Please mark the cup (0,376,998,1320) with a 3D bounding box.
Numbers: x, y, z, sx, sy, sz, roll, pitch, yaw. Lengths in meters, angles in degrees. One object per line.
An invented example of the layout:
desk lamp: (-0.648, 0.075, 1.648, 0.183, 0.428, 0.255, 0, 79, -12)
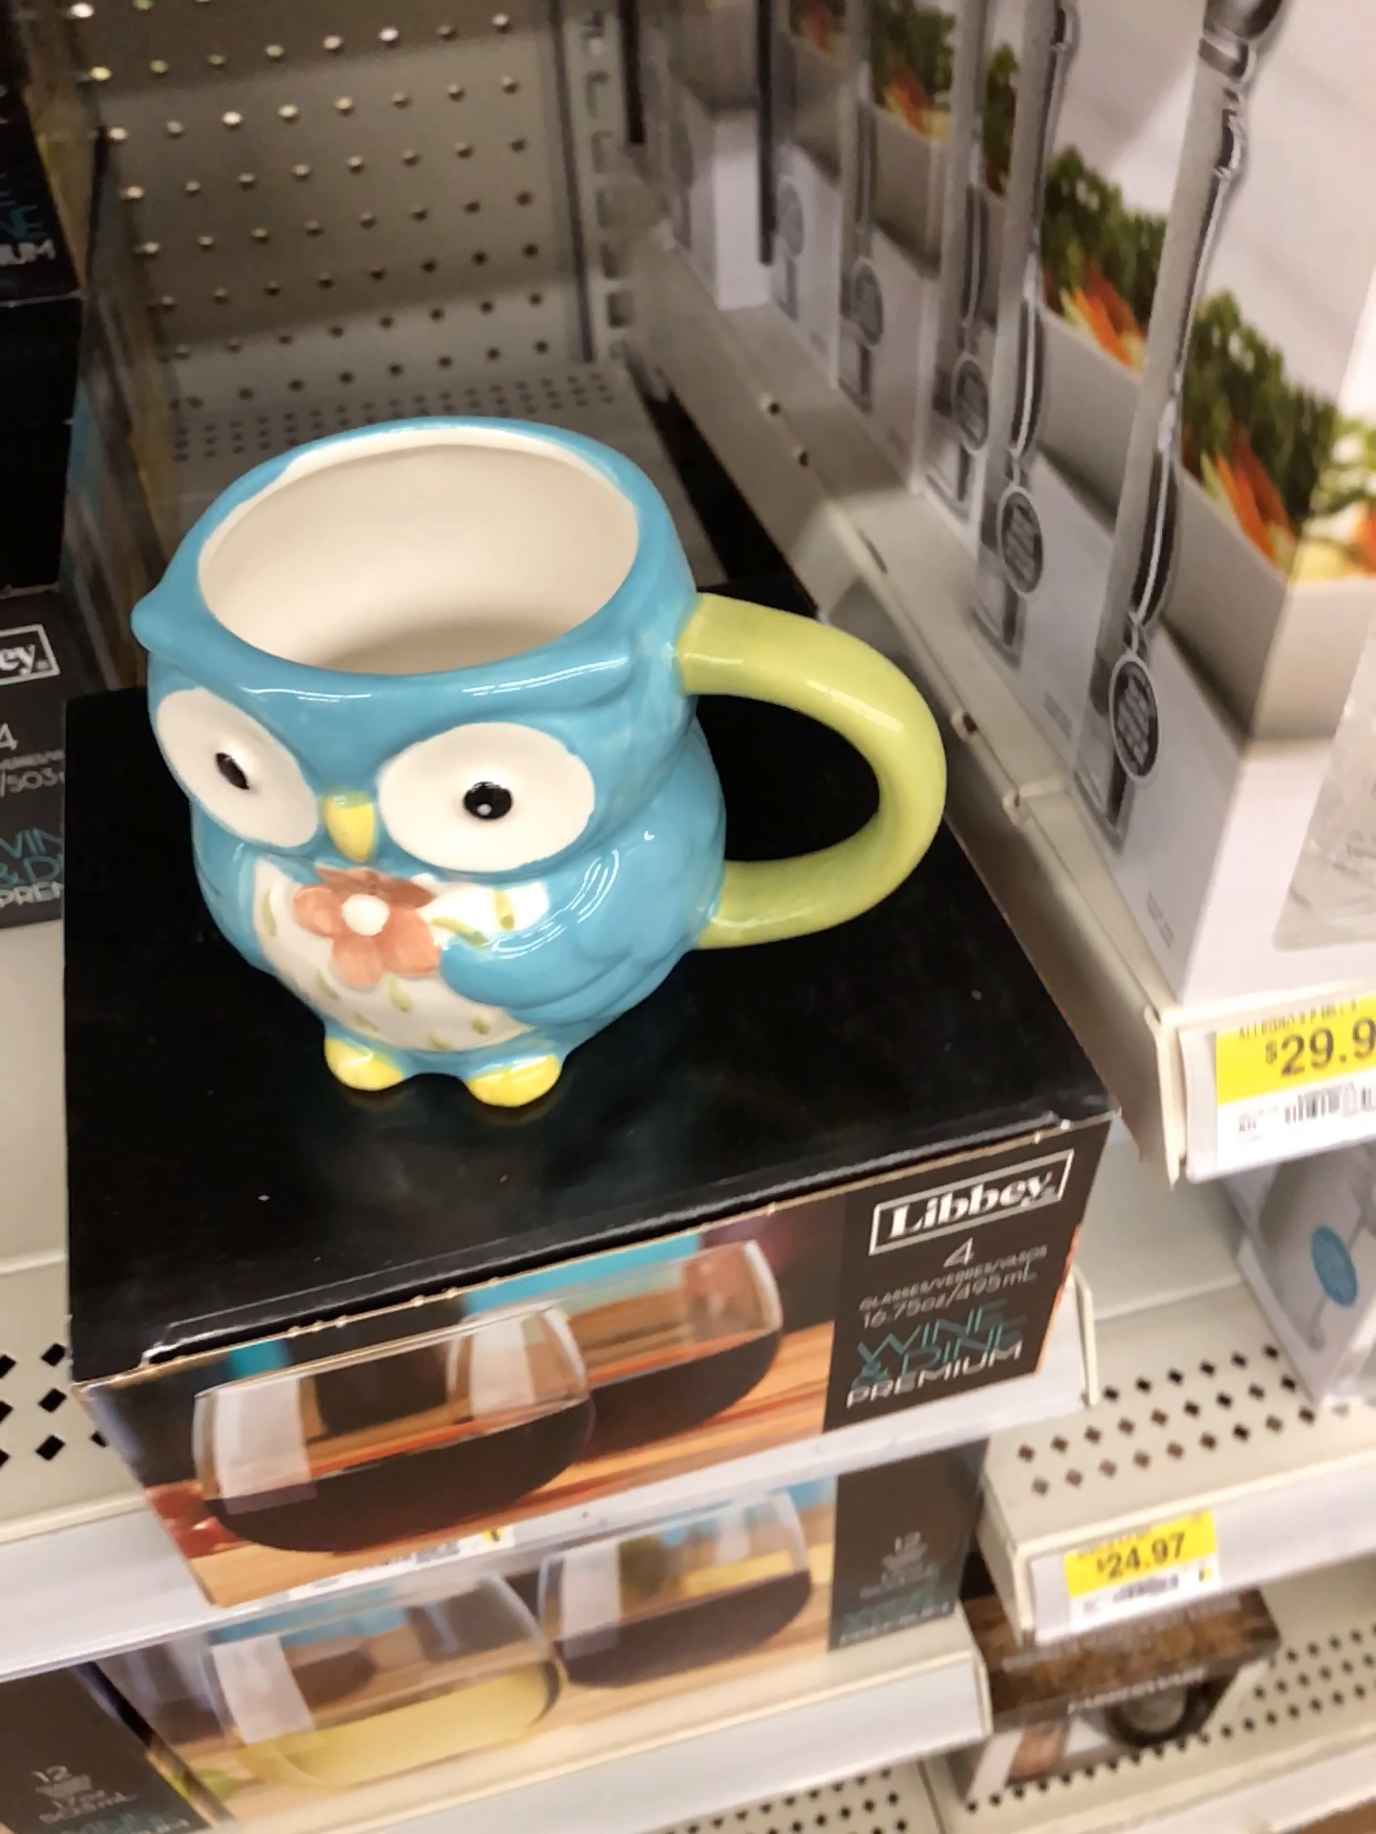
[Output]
cup: (-0.029, -0.015, 0.270, 0.140, 0.110, 0.090, 12, 47, 15)
